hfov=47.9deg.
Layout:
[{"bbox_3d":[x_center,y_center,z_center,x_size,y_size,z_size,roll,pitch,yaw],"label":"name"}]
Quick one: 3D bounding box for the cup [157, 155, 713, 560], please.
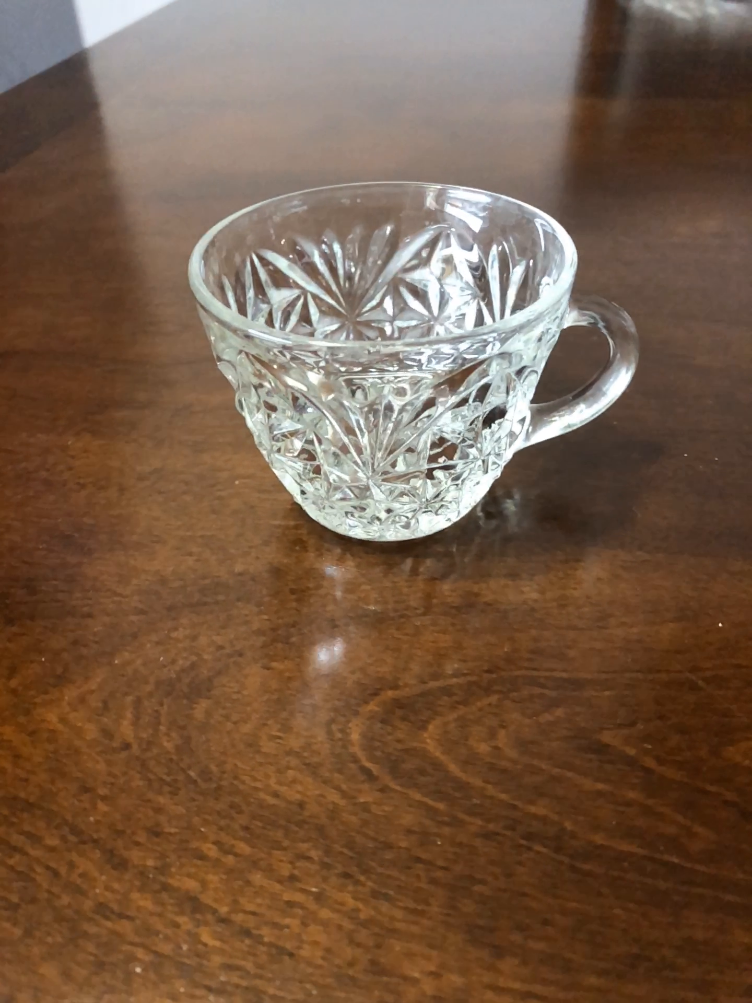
[{"bbox_3d":[0.010,-0.036,0.198,0.100,0.060,0.070,-4,39,0],"label":"cup"}]
